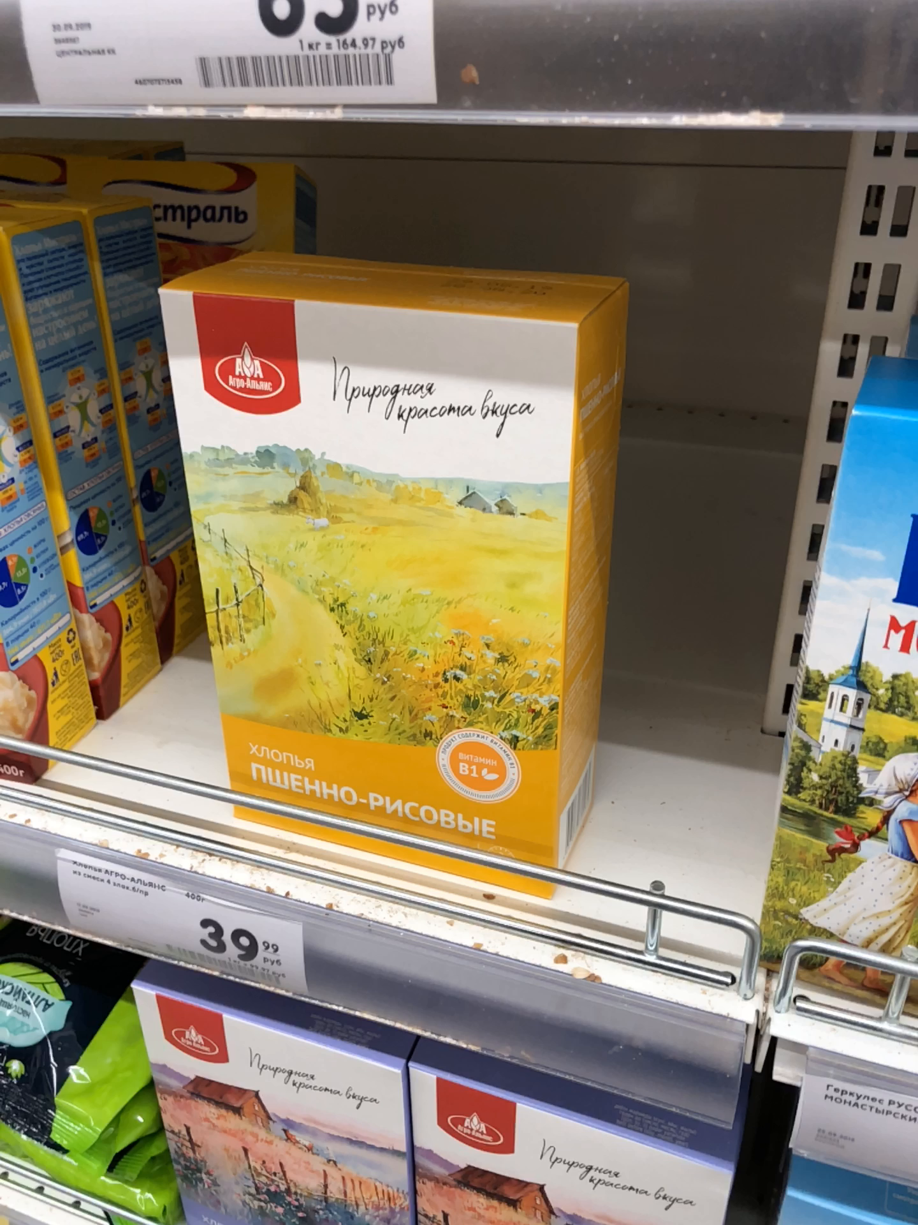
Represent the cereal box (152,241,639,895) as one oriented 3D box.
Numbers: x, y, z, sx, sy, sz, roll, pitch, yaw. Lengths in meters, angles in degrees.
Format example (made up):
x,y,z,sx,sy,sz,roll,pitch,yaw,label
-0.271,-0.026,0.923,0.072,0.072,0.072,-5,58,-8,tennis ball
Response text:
x,y,z,sx,sy,sz,roll,pitch,yaw,label
-0.016,-0.015,0.347,0.130,0.199,0.060,9,30,19,cereal box
